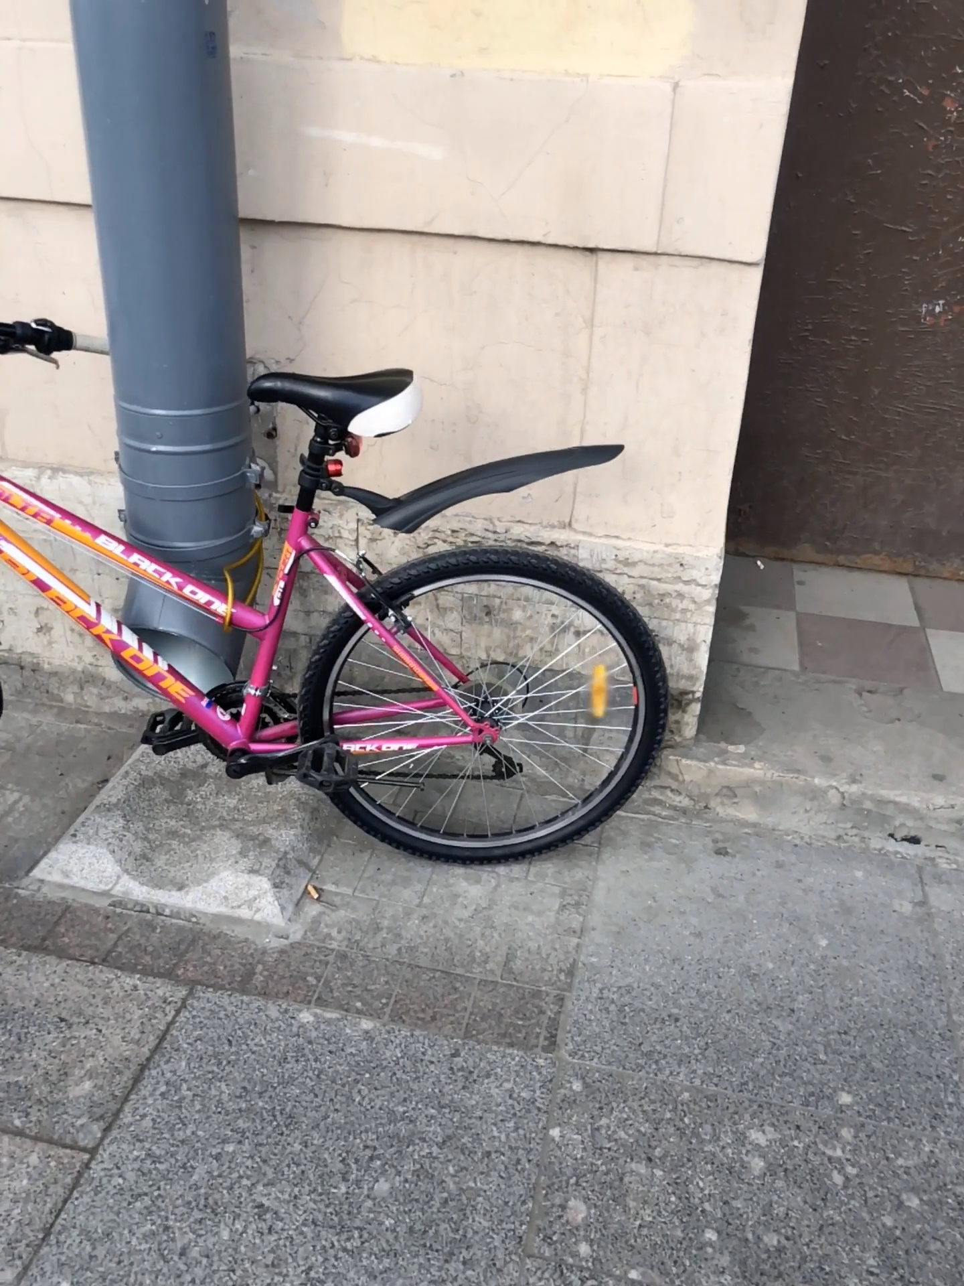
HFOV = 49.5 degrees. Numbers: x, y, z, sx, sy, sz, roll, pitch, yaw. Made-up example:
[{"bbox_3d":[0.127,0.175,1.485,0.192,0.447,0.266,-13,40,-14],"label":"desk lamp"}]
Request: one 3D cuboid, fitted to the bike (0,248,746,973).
[{"bbox_3d":[-0.510,-0.093,1.772,1.574,0.974,0.626,3,29,4],"label":"bike"}]
